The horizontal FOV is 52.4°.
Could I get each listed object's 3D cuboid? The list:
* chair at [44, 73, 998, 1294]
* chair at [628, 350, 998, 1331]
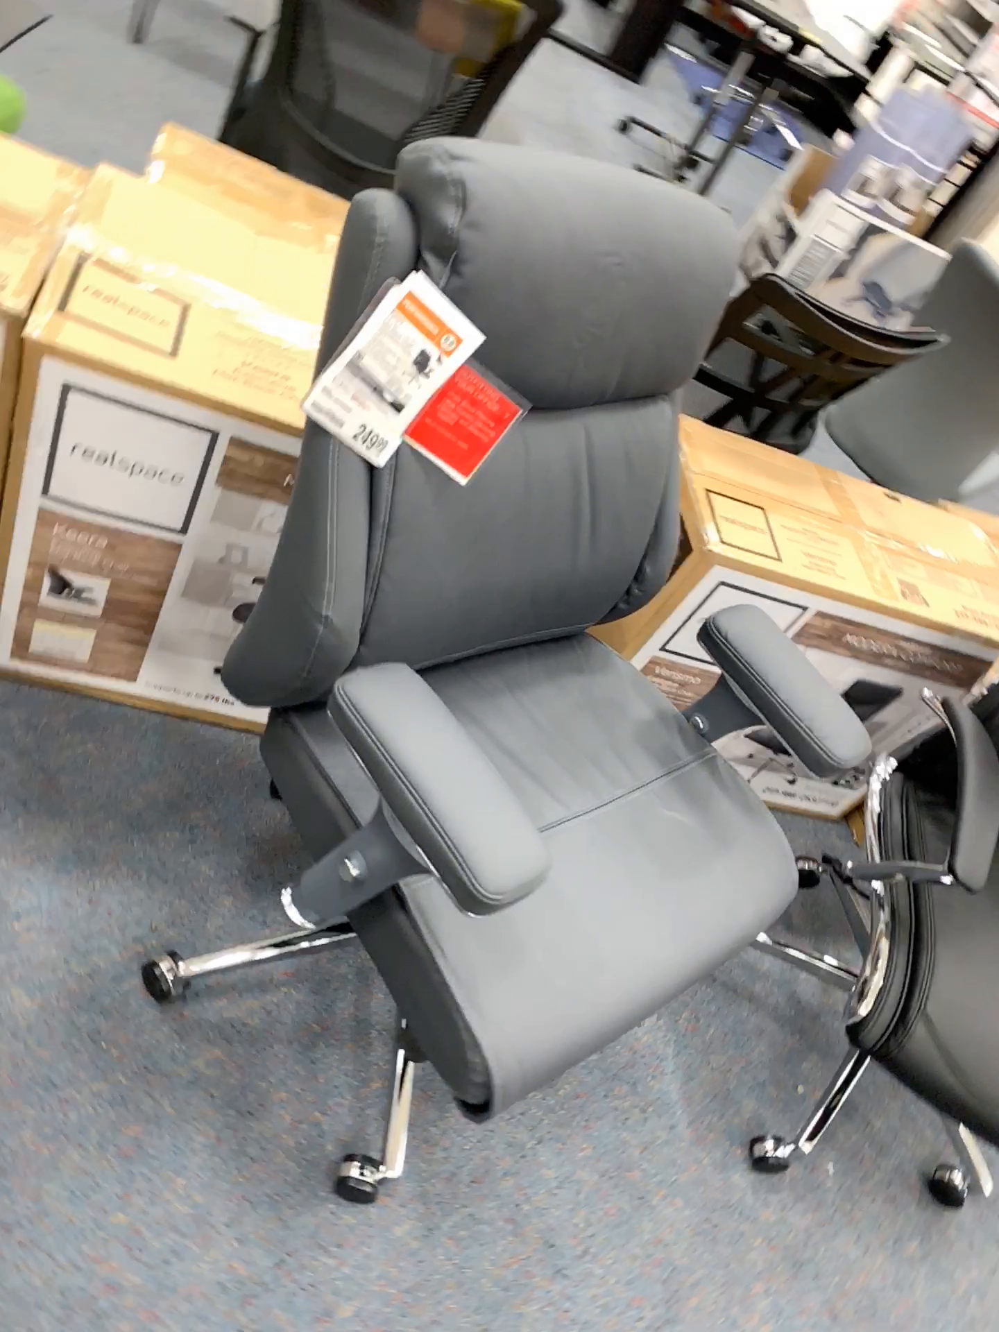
[{"bbox_3d":[0.051,0.077,1.235,0.697,1.076,0.695,-19,64,-46],"label":"chair"},{"bbox_3d":[0.881,0.326,1.526,0.764,1.096,0.788,32,42,-5],"label":"chair"}]
